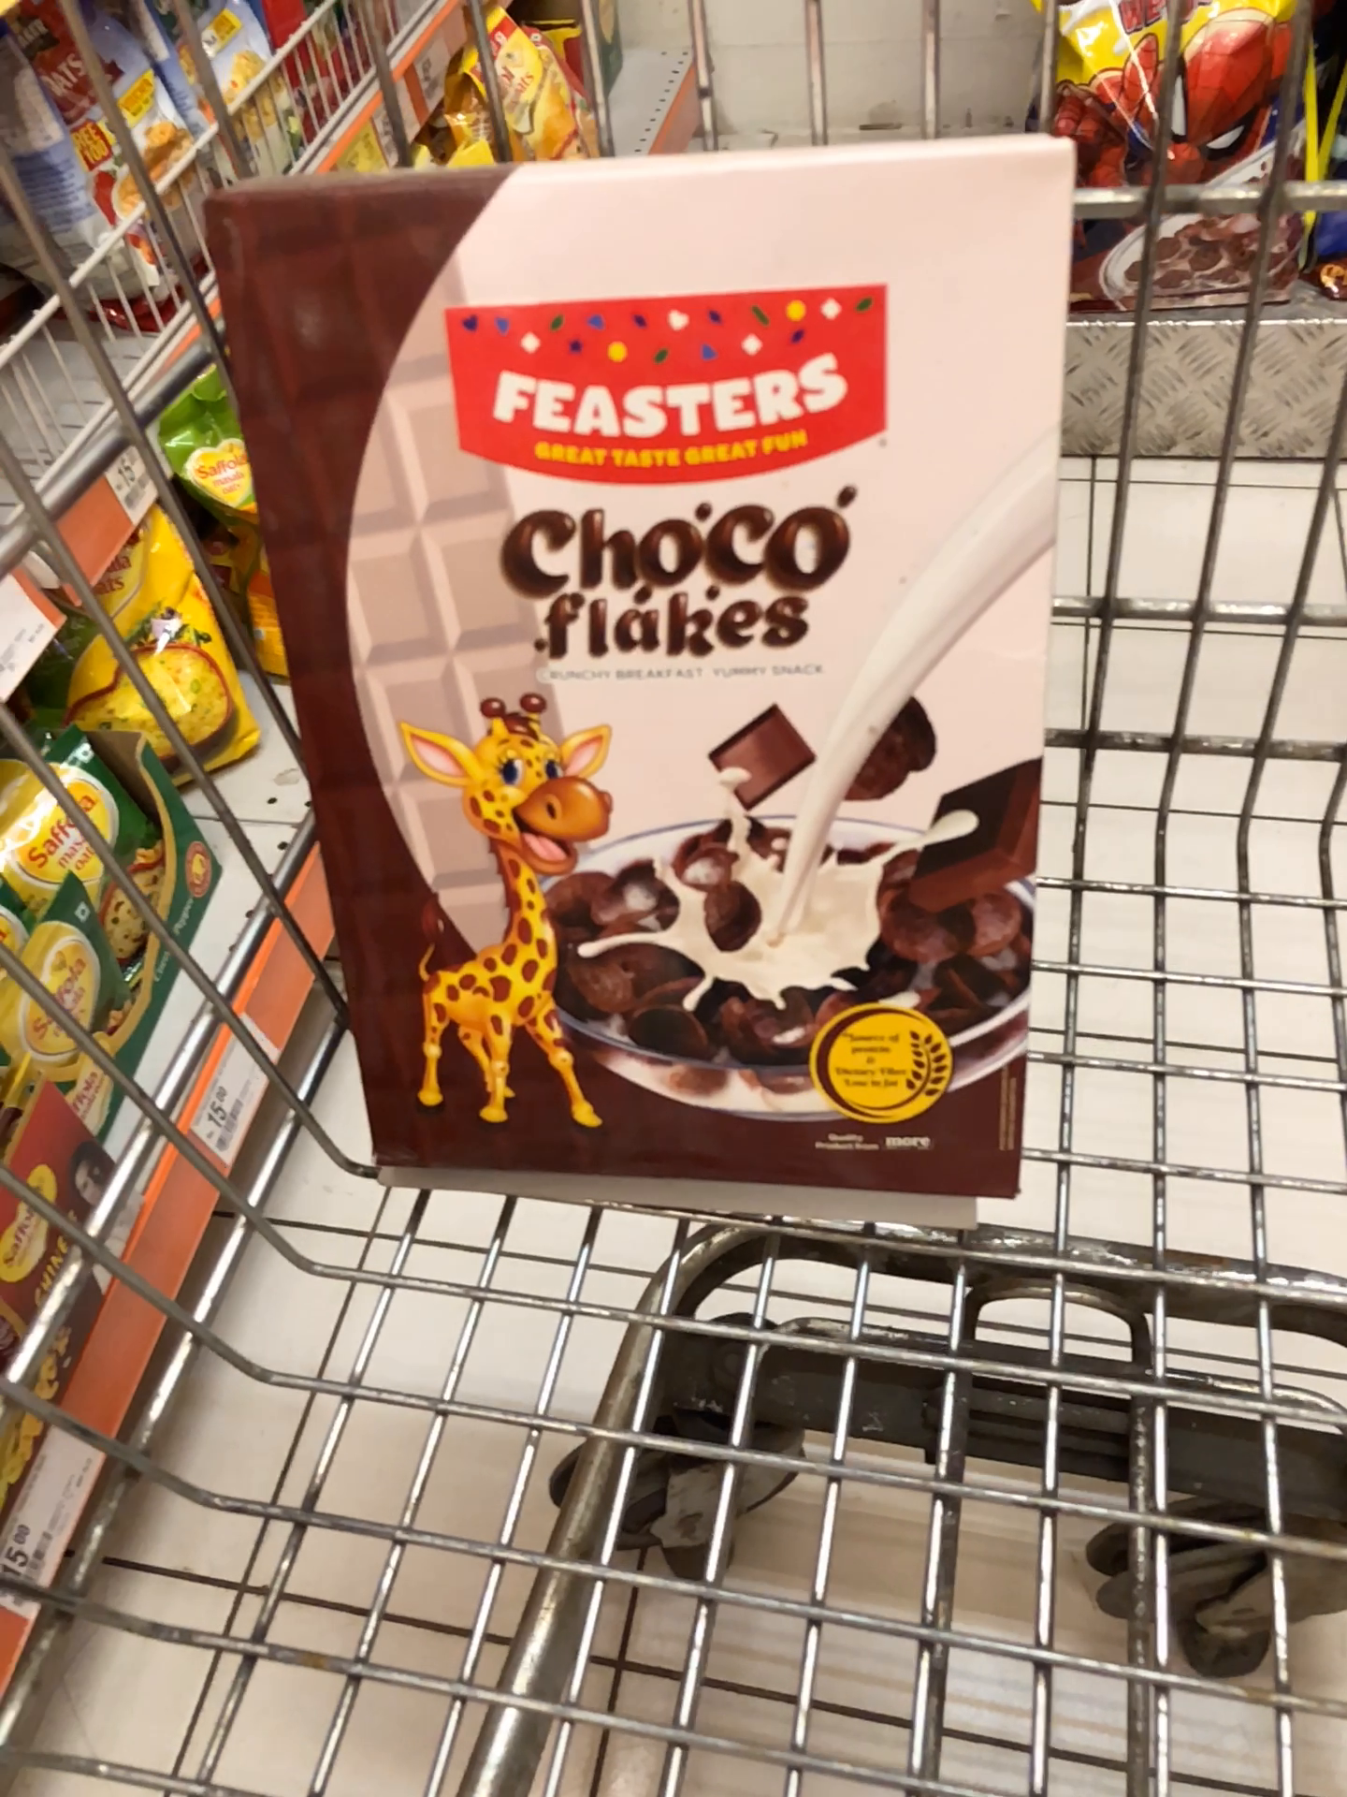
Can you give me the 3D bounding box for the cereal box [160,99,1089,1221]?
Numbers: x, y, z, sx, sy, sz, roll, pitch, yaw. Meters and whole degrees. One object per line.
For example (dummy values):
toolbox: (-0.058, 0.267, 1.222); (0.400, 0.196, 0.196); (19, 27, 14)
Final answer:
cereal box: (0.000, -0.045, 0.349); (0.170, 0.239, 0.070); (0, 26, 8)
